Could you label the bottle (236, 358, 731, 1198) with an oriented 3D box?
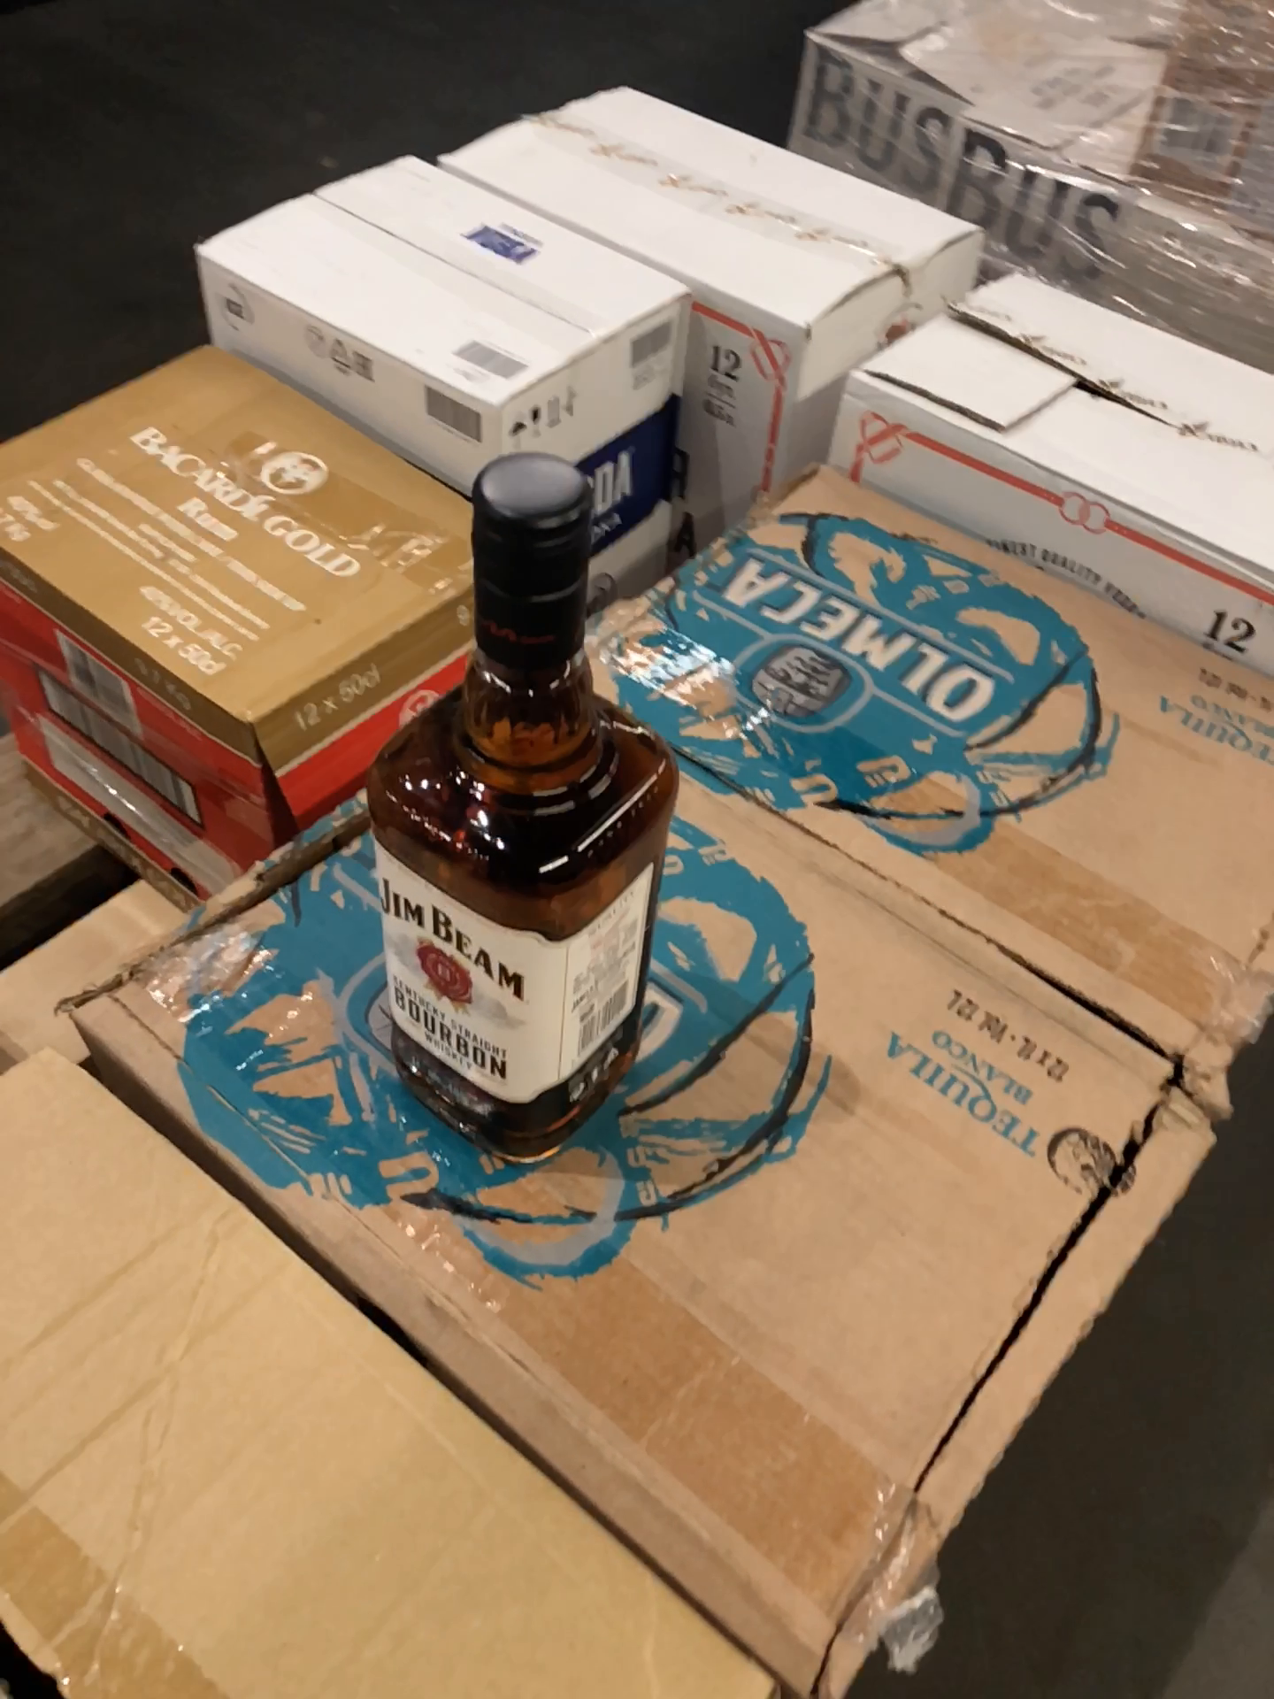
[{"bbox_3d":[-0.046,-0.006,0.450,0.090,0.258,0.087,2,48,-3],"label":"bottle"}]
